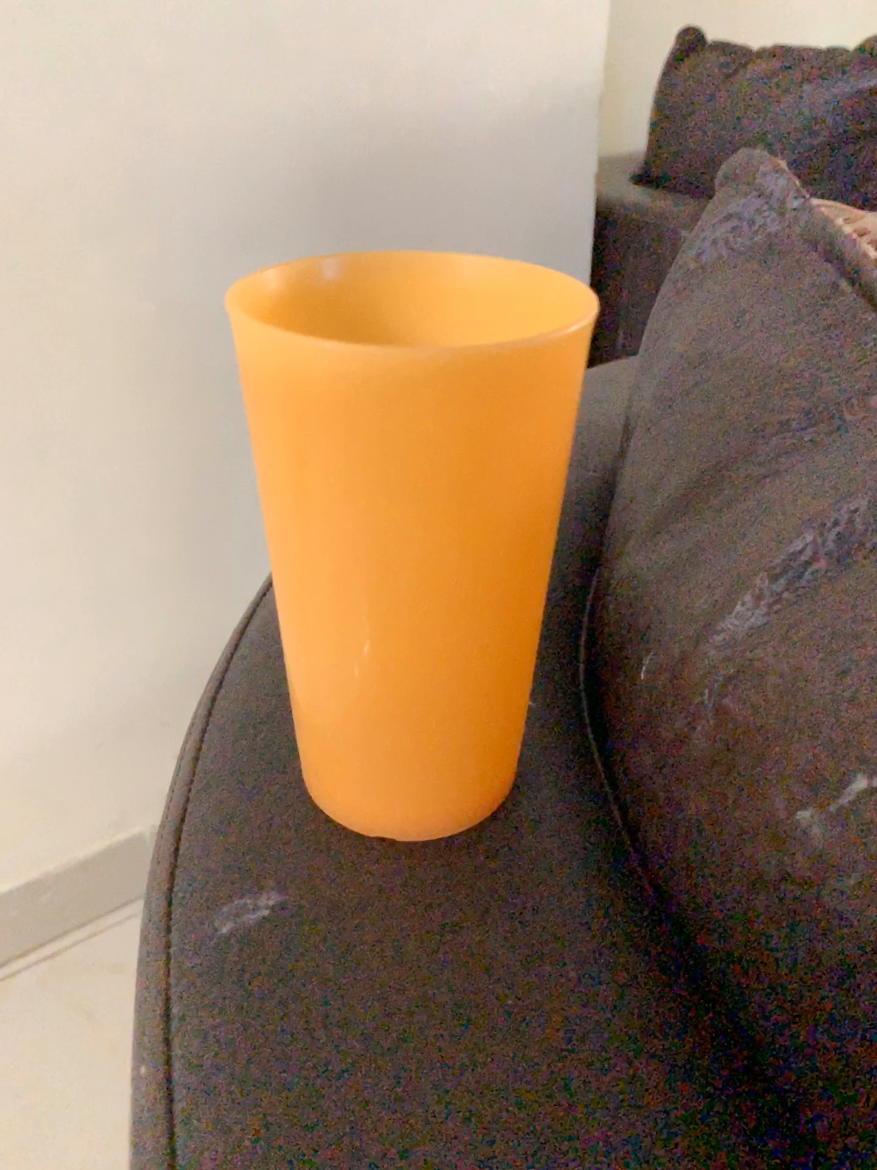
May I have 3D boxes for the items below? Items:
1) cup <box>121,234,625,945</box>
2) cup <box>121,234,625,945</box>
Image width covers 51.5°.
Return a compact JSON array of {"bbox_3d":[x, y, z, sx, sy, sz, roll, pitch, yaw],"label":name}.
[{"bbox_3d":[-0.007,-0.002,0.203,0.070,0.129,0.070,-1,30,0],"label":"cup"},{"bbox_3d":[-0.007,-0.002,0.203,0.070,0.129,0.070,-1,30,0],"label":"cup"}]
